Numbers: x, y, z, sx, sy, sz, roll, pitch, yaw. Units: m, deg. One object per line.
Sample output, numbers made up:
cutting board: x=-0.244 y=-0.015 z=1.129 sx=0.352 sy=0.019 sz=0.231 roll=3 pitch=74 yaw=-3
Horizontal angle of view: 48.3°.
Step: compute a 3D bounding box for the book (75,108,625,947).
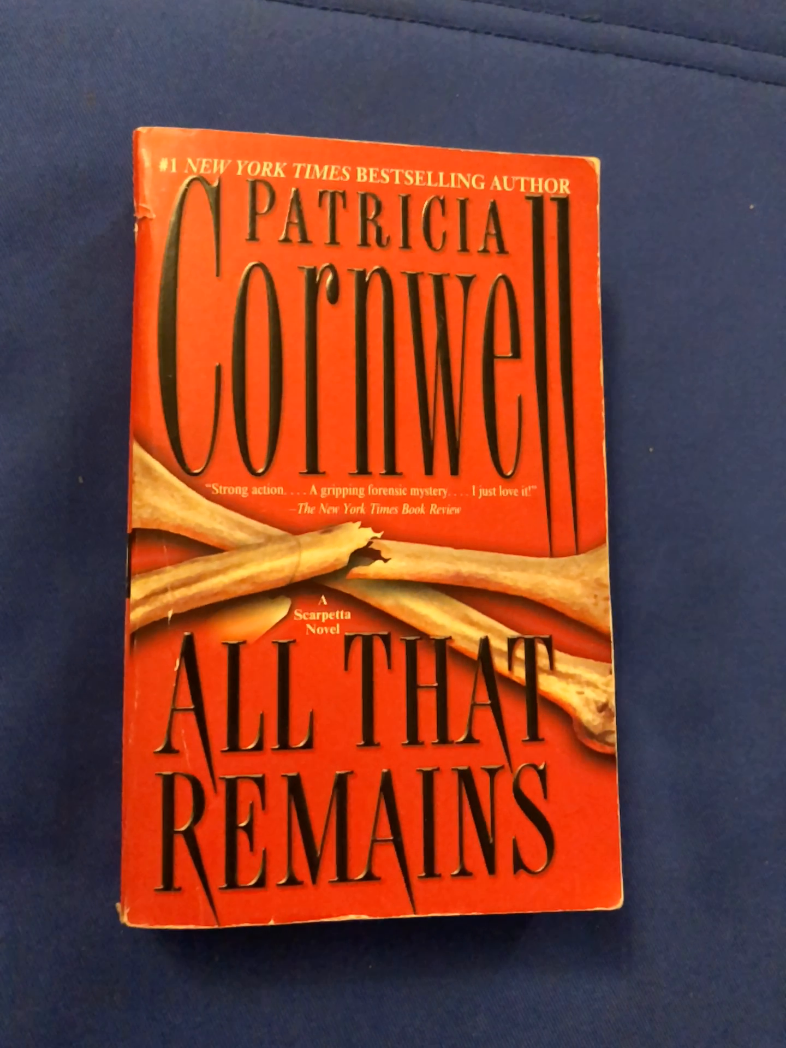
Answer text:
book: x=-0.008 y=-0.001 z=0.196 sx=0.110 sy=0.030 sz=0.166 roll=1 pitch=85 yaw=-9
